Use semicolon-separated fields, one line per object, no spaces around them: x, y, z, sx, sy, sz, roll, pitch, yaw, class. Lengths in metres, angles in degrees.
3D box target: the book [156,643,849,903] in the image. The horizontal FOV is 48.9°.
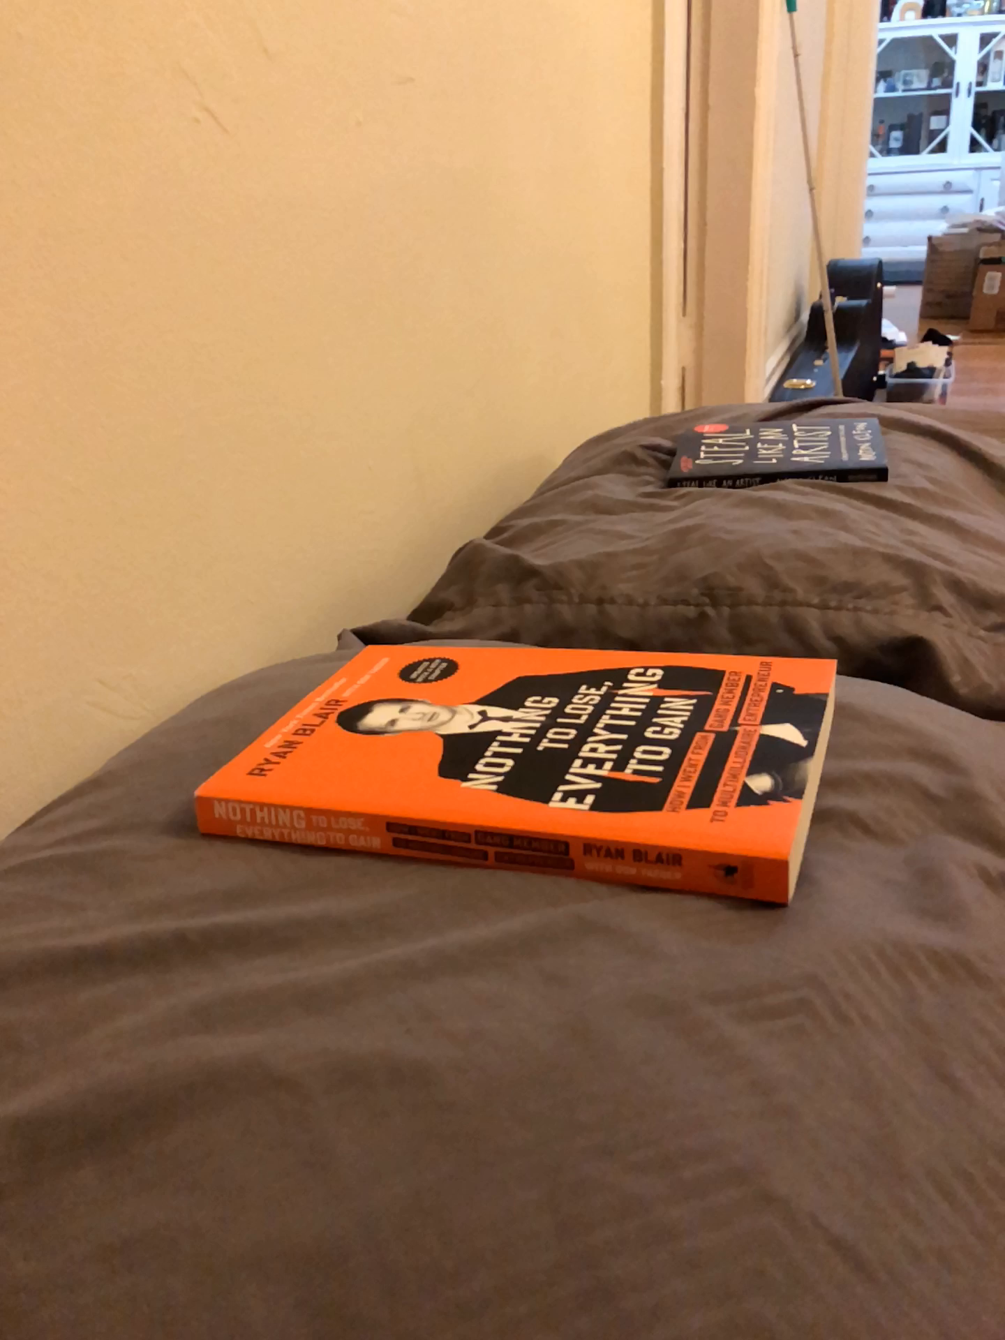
0.008;0.028;0.429;0.230;0.020;0.151;3;21;21;book
